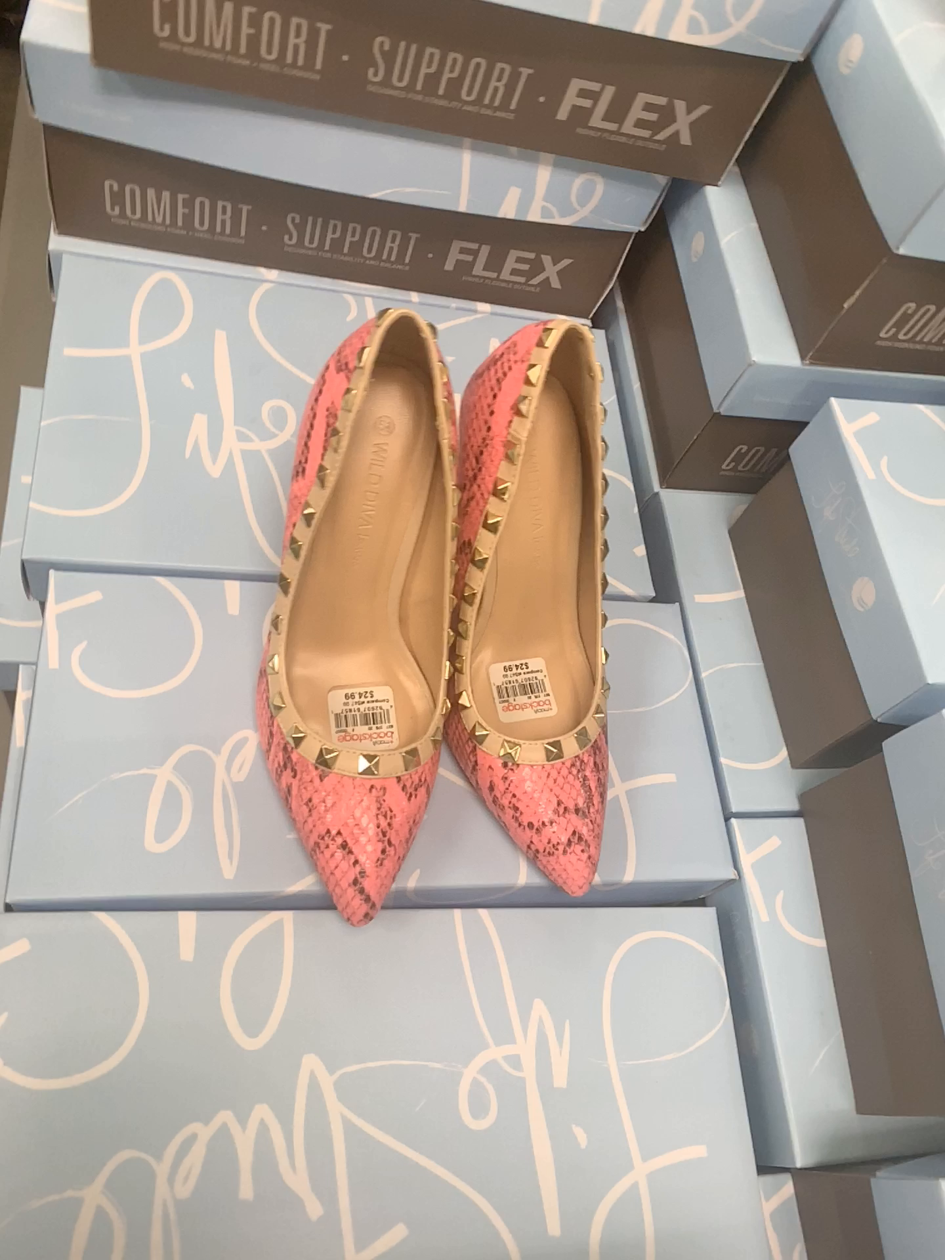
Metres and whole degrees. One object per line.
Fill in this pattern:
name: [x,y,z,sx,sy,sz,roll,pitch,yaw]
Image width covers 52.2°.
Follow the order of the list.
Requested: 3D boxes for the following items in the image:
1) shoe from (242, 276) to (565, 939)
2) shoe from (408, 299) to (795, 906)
shoe: [-0.038,-0.003,0.355,0.080,0.129,0.200,2,63,-16]
shoe: [0.034,-0.005,0.381,0.082,0.129,0.196,2,63,-16]
